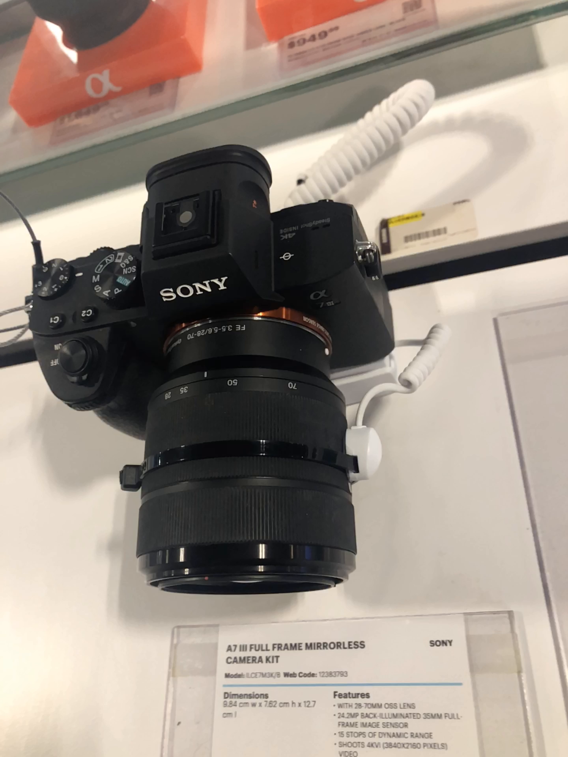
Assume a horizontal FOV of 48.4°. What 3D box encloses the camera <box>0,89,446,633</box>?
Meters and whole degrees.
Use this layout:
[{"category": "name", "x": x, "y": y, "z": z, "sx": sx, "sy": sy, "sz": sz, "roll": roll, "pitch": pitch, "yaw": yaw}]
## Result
[{"category": "camera", "x": -0.022, "y": 0.006, "z": 0.210, "sx": 0.120, "sy": 0.100, "sz": 0.130, "roll": -11, "pitch": 60, "yaw": 17}]
